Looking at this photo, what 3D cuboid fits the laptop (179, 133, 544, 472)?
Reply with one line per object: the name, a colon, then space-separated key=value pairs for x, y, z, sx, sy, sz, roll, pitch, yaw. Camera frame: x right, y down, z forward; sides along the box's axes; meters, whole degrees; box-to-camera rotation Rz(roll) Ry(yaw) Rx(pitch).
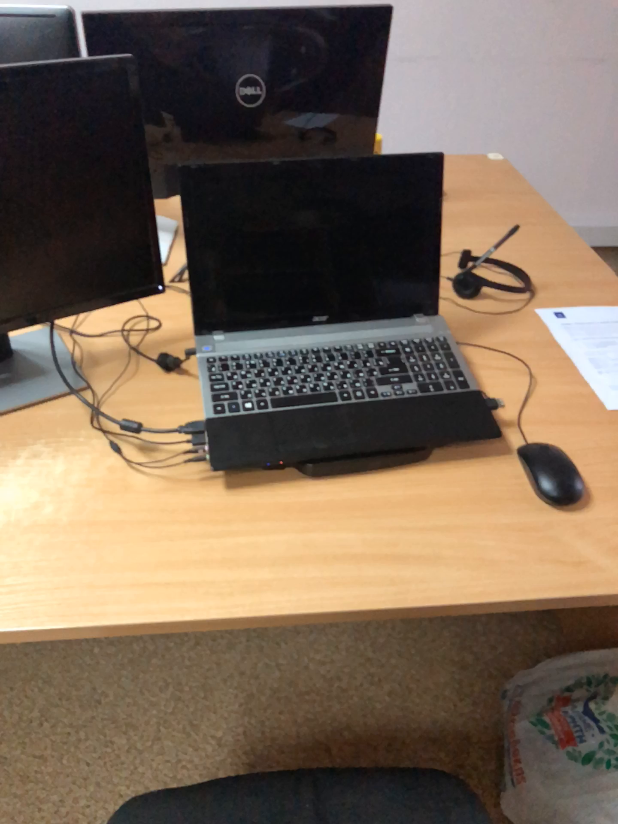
laptop: x=0.038 y=-0.164 z=0.895 sx=0.370 sy=0.215 sz=0.353 roll=-6 pitch=45 yaw=-10
